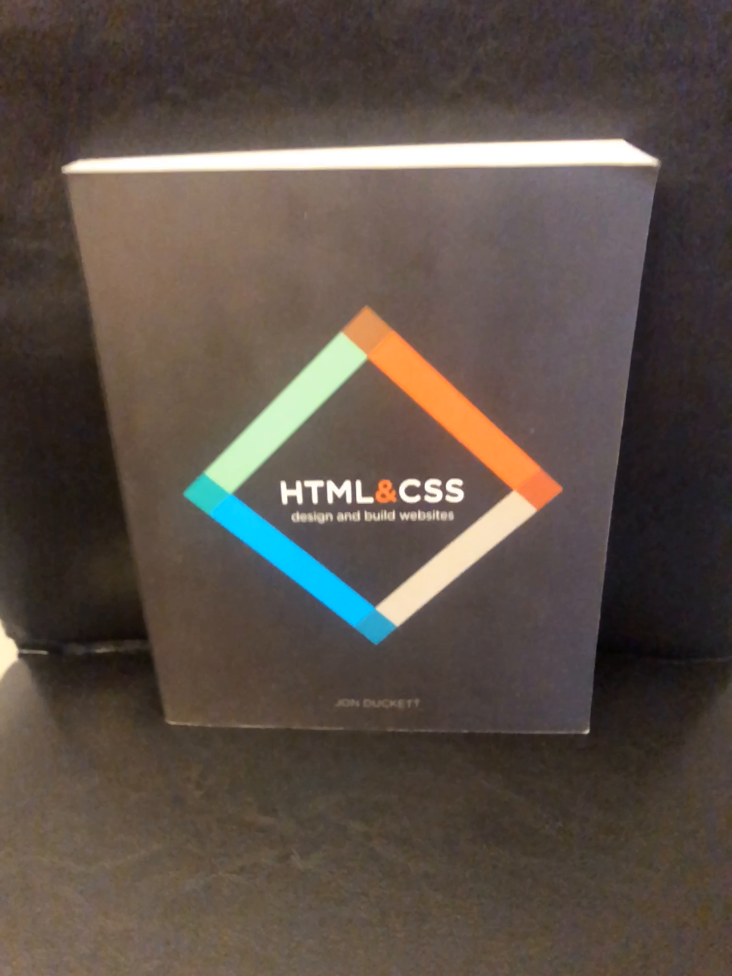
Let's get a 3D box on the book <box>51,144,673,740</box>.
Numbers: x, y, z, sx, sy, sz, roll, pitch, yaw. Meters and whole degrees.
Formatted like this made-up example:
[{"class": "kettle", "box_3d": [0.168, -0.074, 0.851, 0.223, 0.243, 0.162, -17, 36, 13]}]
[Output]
[{"class": "book", "box_3d": [0.001, -0.003, 0.312, 0.188, 0.231, 0.030, 0, 27, 4]}]
